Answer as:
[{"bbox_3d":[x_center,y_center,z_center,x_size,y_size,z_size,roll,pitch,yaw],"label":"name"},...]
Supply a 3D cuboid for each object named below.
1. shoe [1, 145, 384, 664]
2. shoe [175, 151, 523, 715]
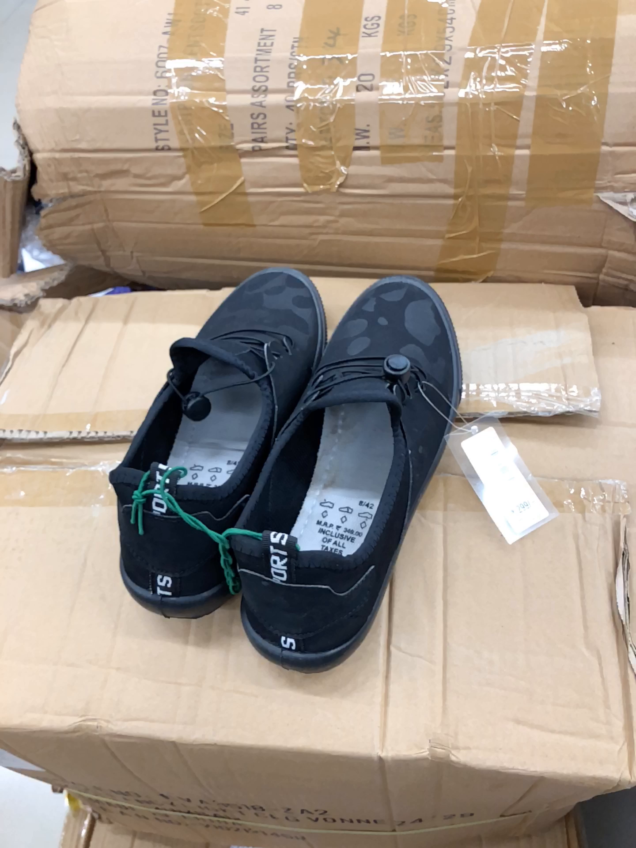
[{"bbox_3d":[-0.047,-0.031,0.457,0.120,0.129,0.312,7,55,13],"label":"shoe"},{"bbox_3d":[0.043,-0.016,0.436,0.120,0.129,0.322,8,55,14],"label":"shoe"}]
